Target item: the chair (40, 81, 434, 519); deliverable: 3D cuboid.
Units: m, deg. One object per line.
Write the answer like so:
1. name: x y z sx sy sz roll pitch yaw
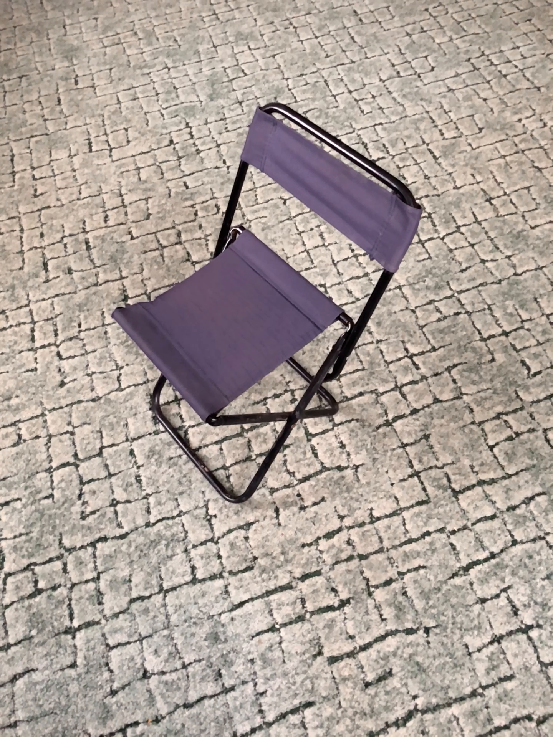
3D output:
1. chair: -0.044 -0.084 1.030 0.399 0.537 0.342 -37 63 -19
